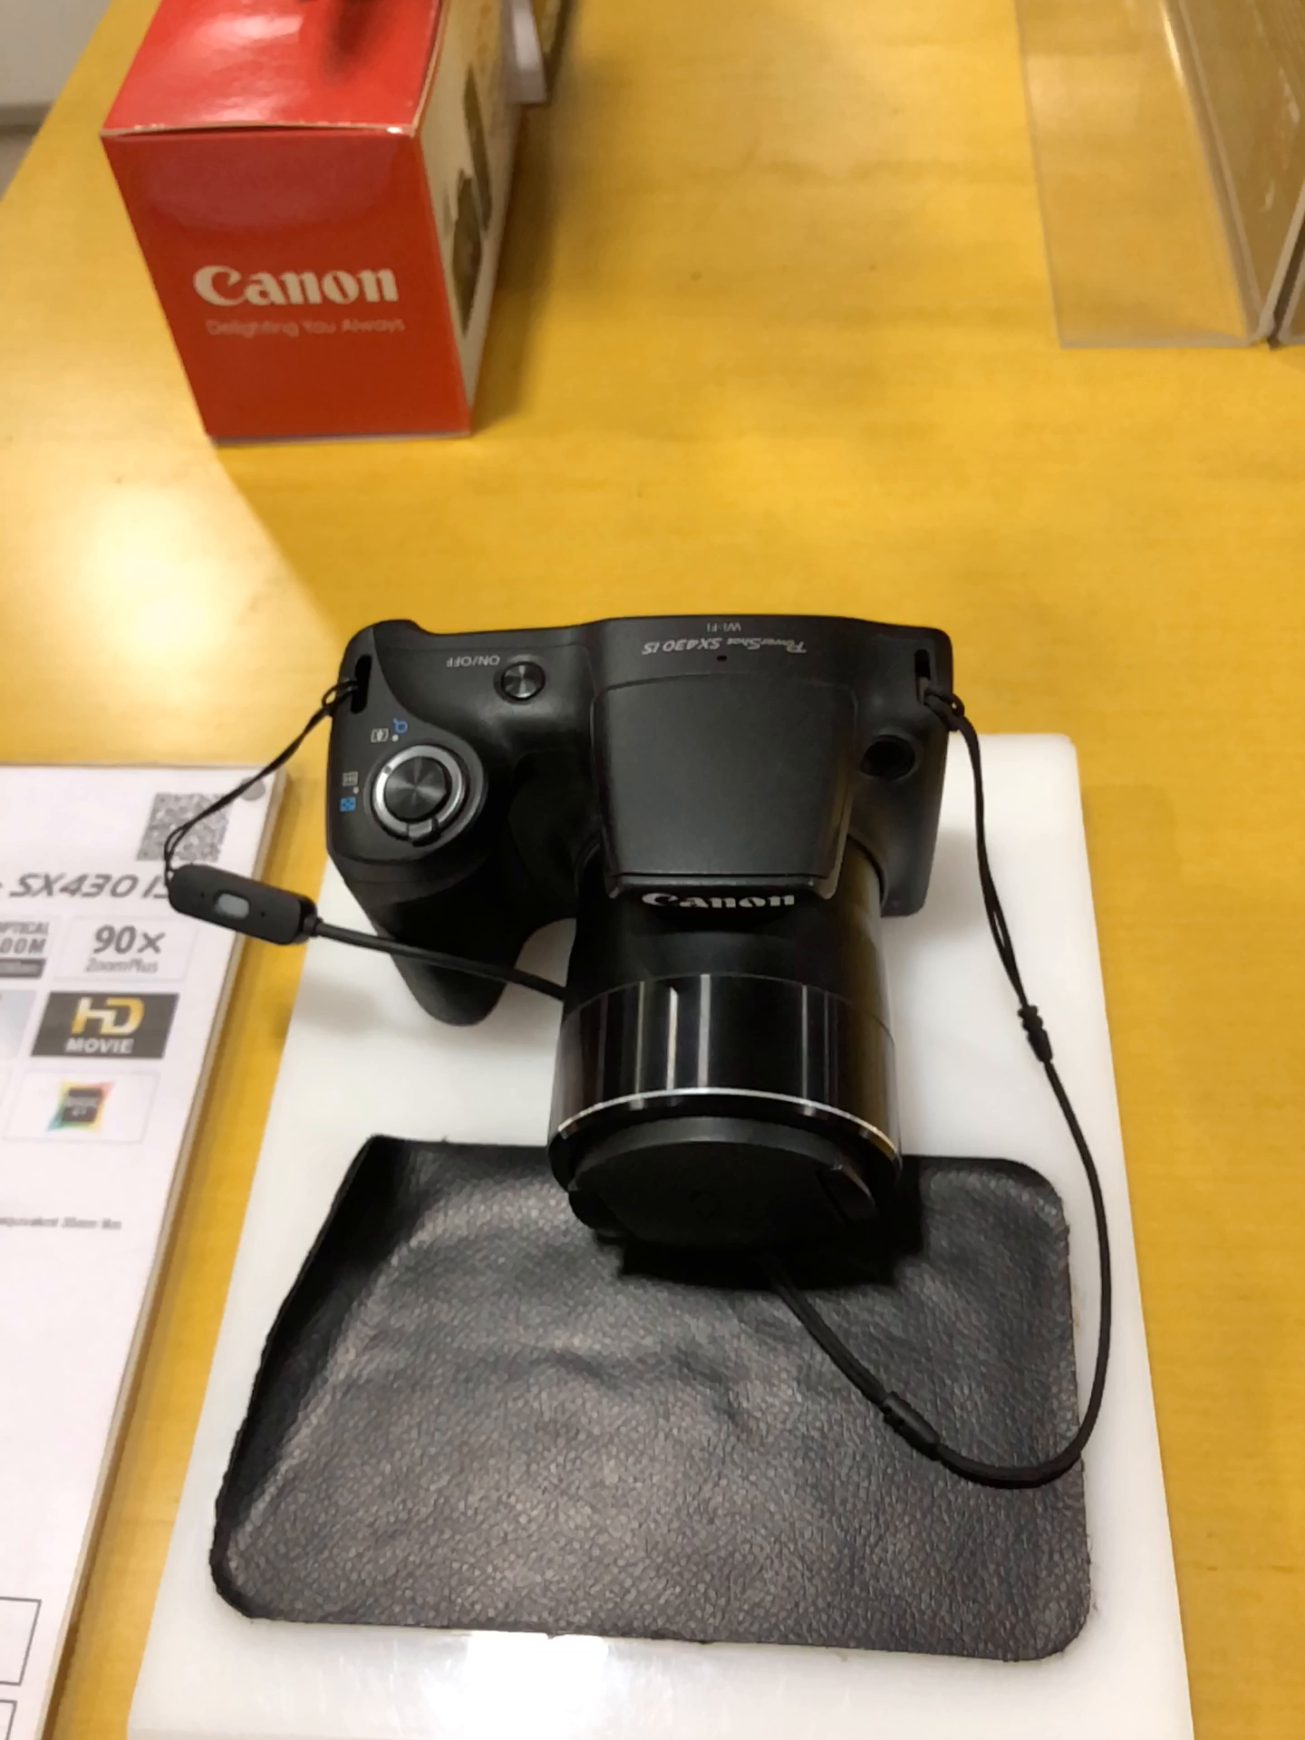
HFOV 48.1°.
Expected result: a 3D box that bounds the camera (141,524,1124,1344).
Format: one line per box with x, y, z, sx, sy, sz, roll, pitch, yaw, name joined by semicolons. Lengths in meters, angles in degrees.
0.001;0.013;0.225;0.110;0.090;0.090;0;55;4;camera
